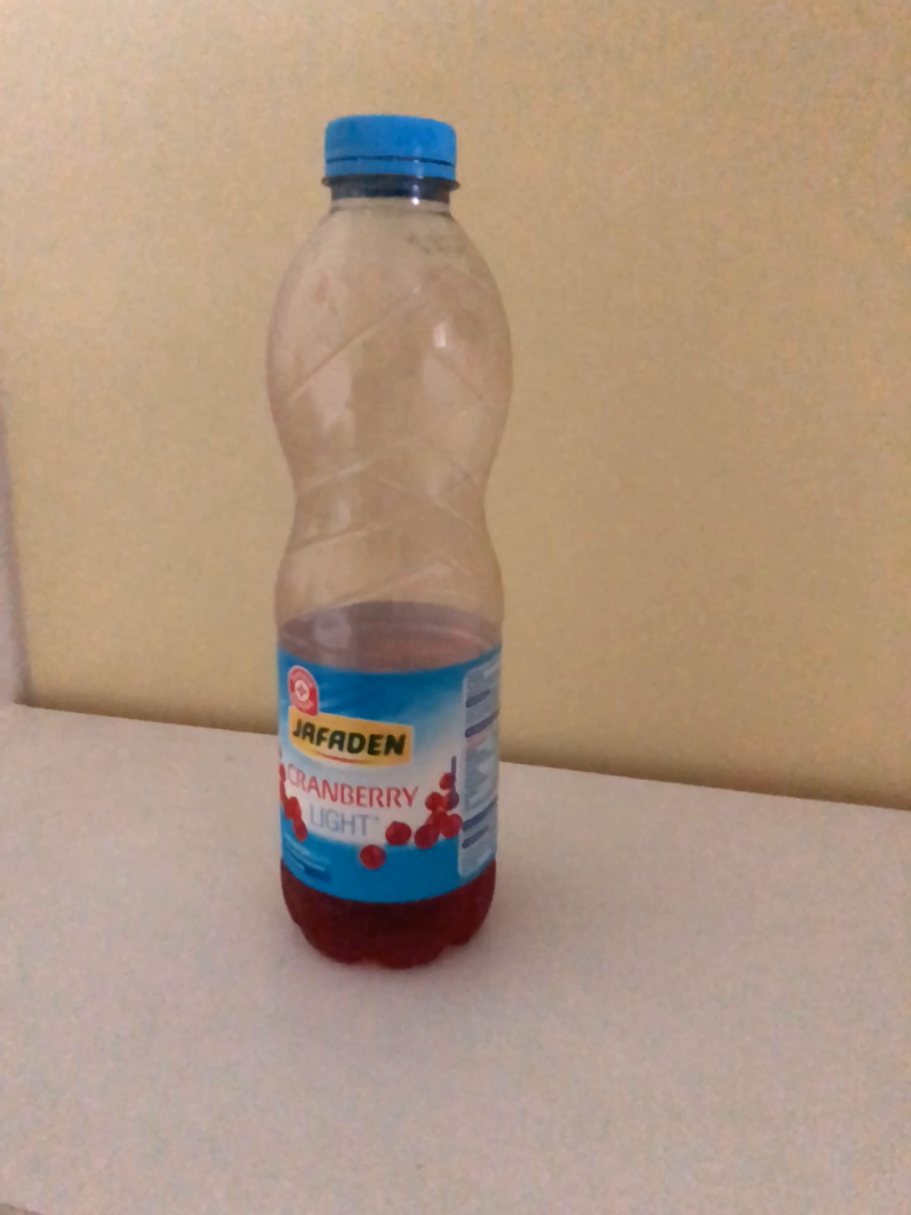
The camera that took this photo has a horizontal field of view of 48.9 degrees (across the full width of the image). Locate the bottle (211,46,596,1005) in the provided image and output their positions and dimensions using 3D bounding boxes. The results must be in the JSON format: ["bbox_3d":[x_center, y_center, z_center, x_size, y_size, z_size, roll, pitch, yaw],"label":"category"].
[{"bbox_3d":[-0.012,-0.020,0.327,0.090,0.269,0.080,5,16,16],"label":"bottle"}]
